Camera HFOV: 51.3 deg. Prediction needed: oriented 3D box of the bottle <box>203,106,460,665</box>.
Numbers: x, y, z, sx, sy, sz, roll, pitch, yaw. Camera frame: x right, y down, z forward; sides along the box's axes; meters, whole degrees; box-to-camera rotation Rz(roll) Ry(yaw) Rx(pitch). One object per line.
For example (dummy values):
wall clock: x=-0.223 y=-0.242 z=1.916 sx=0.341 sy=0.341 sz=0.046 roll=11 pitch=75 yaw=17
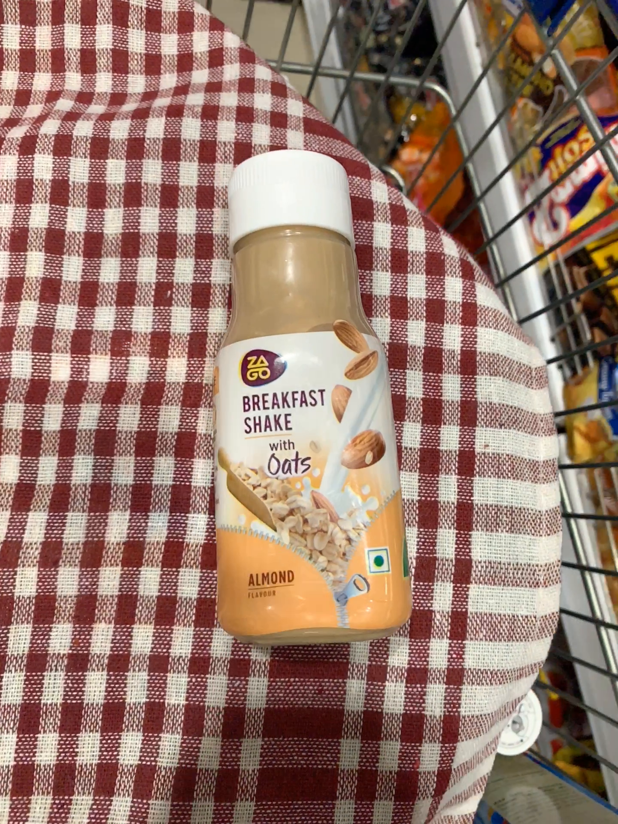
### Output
bottle: x=0.003 y=-0.008 z=0.189 sx=0.060 sy=0.050 sz=0.140 roll=-2 pitch=86 yaw=-7
